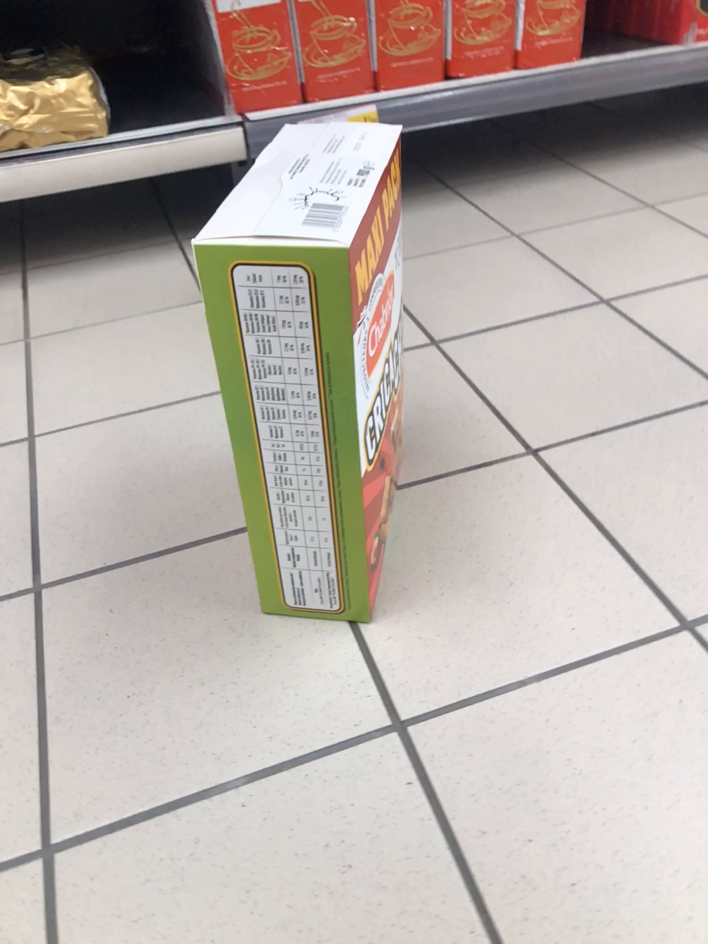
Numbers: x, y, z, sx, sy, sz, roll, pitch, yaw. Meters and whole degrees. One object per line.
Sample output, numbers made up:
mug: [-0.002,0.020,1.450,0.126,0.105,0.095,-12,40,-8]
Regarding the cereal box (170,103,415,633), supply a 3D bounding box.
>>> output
cereal box: [-0.016,-0.067,0.501,0.080,0.268,0.201,3,39,11]
